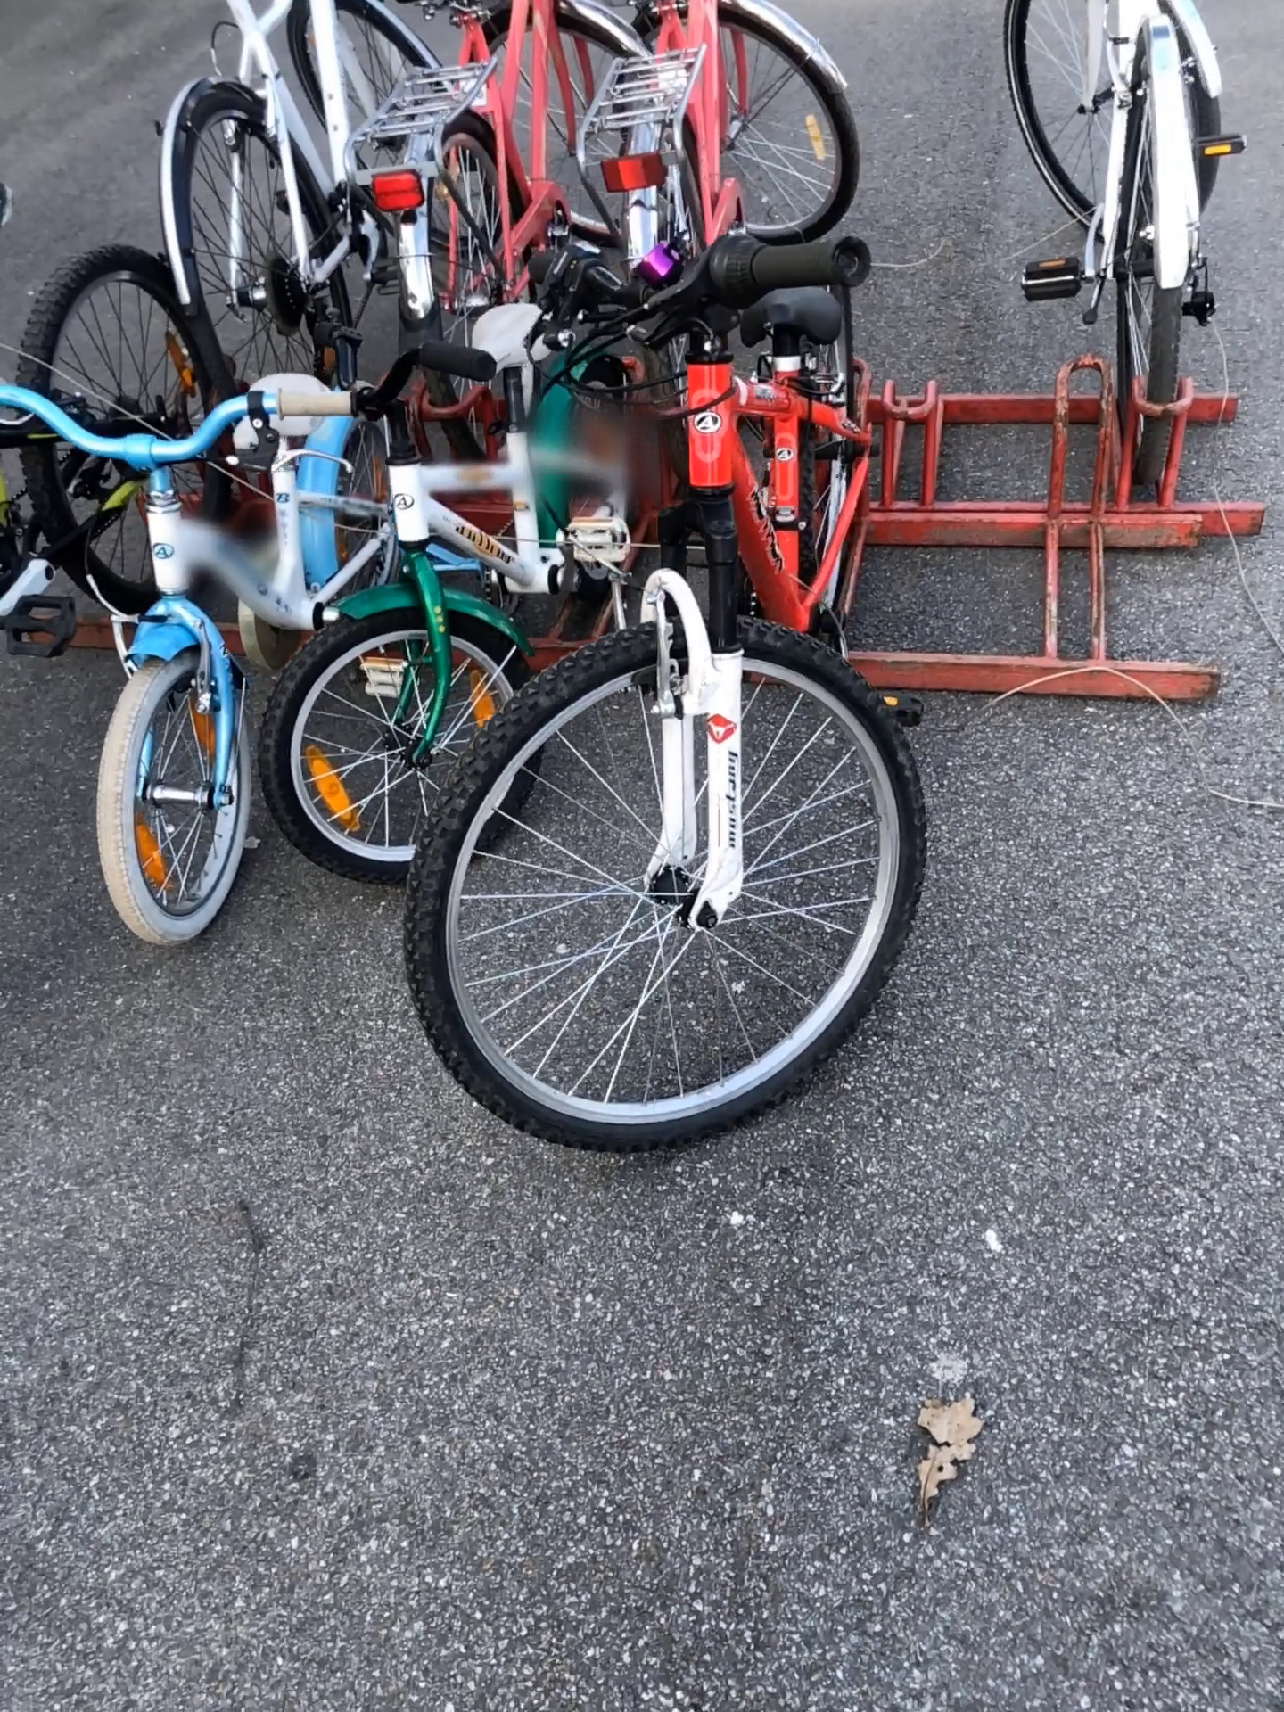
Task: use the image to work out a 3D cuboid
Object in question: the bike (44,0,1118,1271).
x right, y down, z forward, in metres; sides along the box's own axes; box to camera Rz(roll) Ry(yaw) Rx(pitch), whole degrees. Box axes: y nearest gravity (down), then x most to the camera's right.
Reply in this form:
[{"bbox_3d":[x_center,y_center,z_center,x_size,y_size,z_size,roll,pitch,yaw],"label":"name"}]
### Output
[{"bbox_3d":[0.116,-0.432,1.710,0.551,0.908,1.450,12,47,17],"label":"bike"}]
